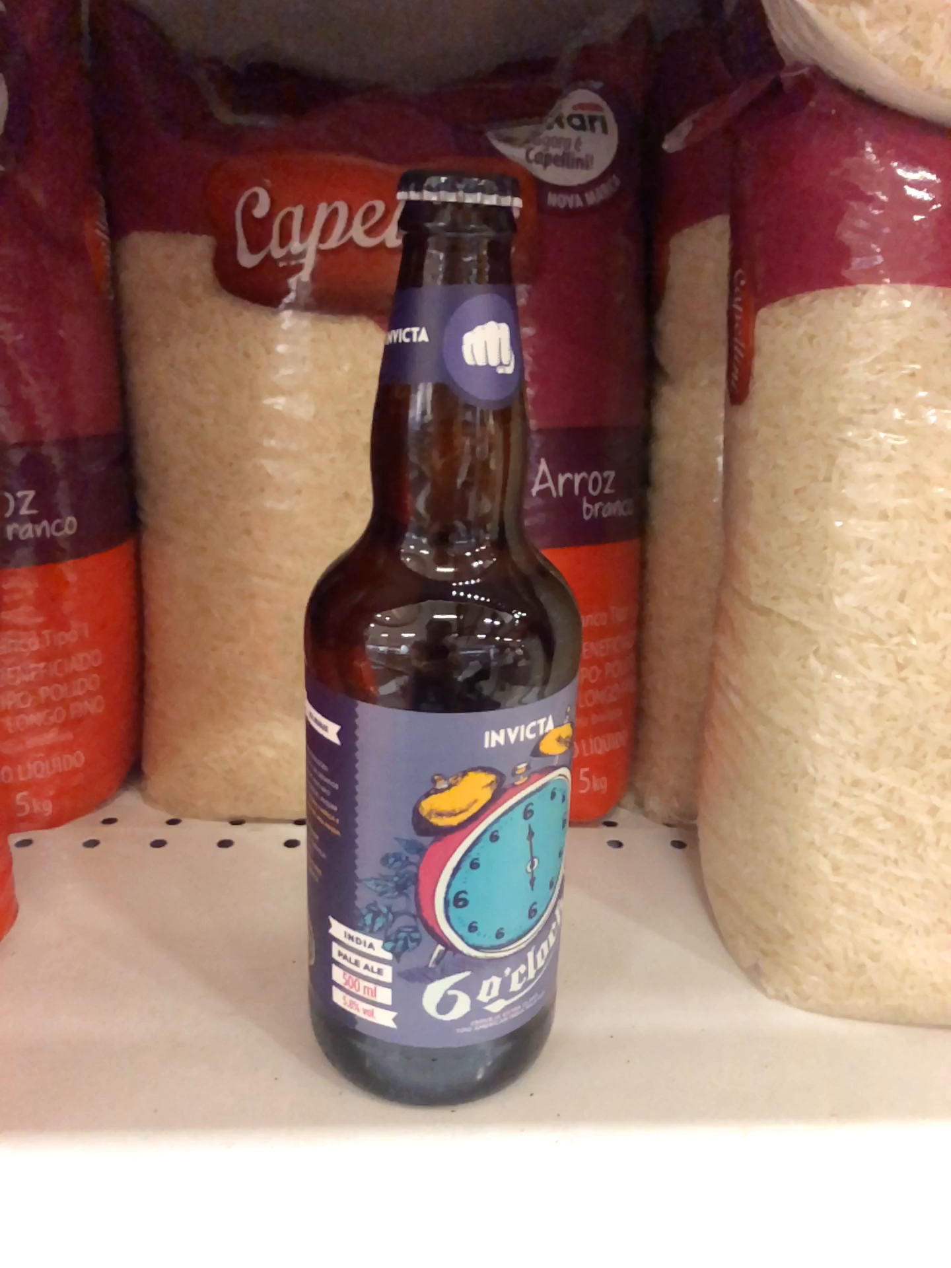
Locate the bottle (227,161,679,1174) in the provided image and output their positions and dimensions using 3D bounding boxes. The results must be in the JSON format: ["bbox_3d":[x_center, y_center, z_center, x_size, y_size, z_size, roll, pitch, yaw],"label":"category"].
[{"bbox_3d":[-0.011,0.008,0.267,0.070,0.229,0.070,2,20,-1],"label":"bottle"}]
